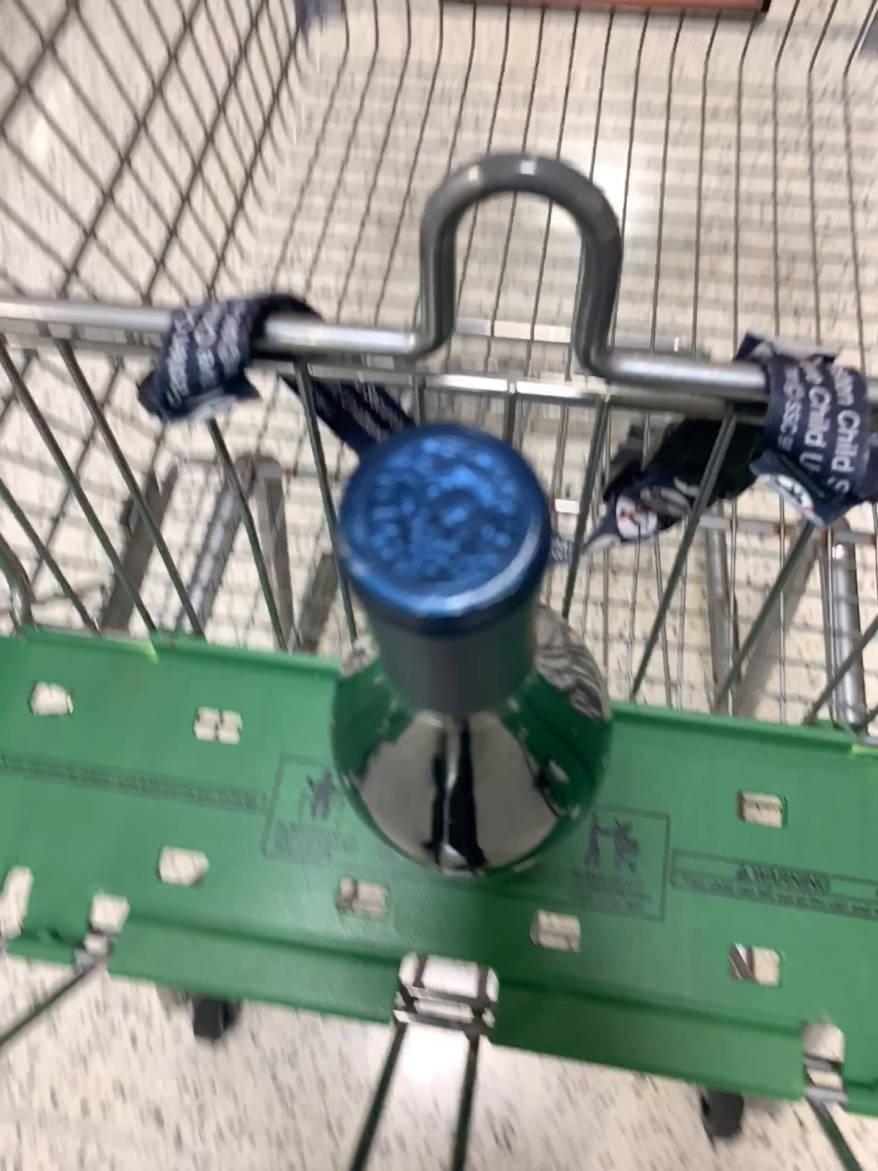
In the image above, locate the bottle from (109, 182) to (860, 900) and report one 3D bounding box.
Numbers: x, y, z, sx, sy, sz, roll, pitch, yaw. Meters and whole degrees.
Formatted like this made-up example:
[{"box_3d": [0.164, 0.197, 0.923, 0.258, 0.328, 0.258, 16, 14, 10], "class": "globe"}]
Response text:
[{"box_3d": [0.009, 0.036, 0.246, 0.080, 0.288, 0.075, -1, 69, 3], "class": "bottle"}]
